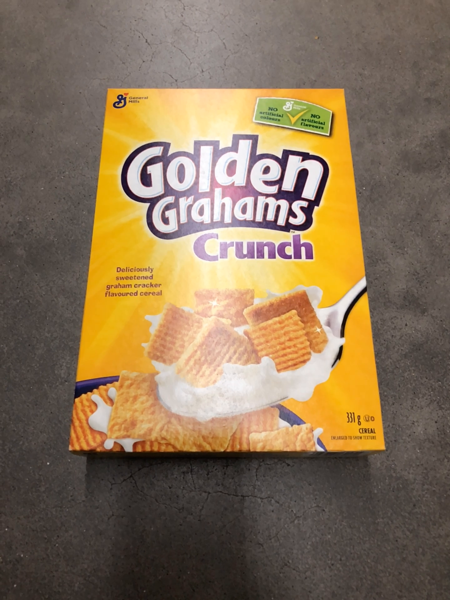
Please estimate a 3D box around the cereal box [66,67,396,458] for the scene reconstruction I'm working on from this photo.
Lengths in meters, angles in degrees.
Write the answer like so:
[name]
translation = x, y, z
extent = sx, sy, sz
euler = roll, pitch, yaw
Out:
[cereal box]
translation = 0.004, -0.036, 0.385
extent = 0.200, 0.070, 0.301
euler = -1, 69, 1
